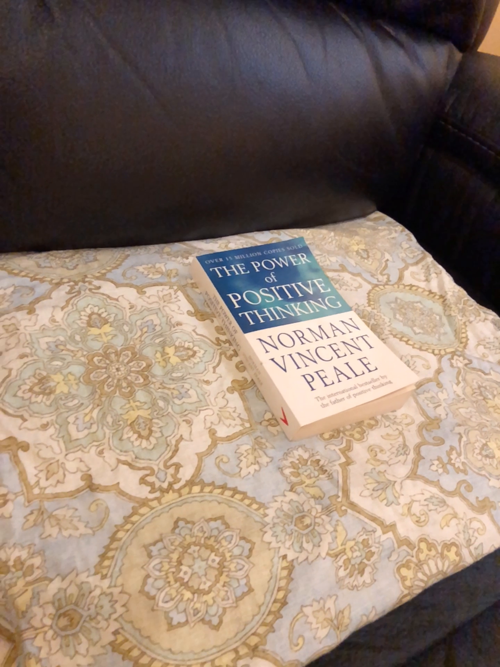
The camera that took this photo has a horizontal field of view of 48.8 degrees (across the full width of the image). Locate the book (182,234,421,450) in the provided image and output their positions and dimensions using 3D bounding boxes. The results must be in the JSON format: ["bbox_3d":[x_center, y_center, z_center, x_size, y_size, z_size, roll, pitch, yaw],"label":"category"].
[{"bbox_3d":[0.038,-0.006,0.460,0.120,0.030,0.183,-13,56,-31],"label":"book"}]
